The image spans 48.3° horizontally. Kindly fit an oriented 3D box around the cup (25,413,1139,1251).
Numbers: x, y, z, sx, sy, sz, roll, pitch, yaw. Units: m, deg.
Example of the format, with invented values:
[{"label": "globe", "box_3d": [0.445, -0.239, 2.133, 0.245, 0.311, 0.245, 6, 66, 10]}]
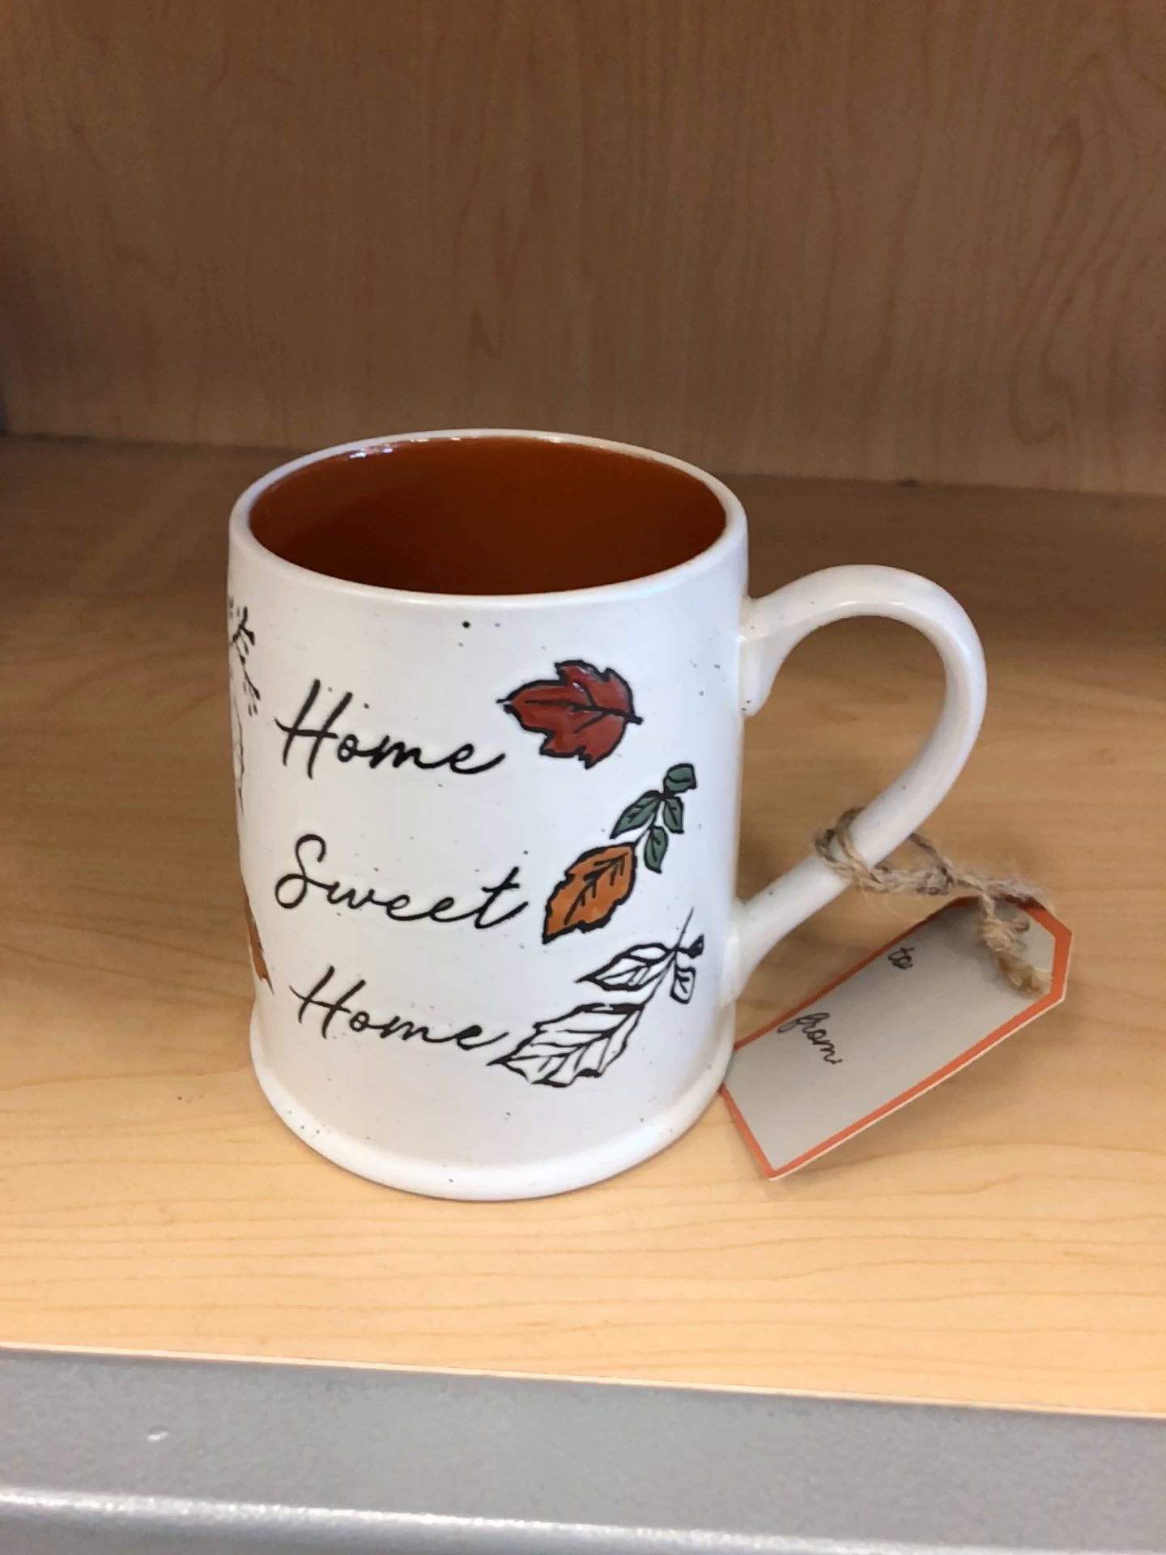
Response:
[{"label": "cup", "box_3d": [-0.001, 0.006, 0.206, 0.125, 0.099, 0.081, 2, 31, 0]}]
